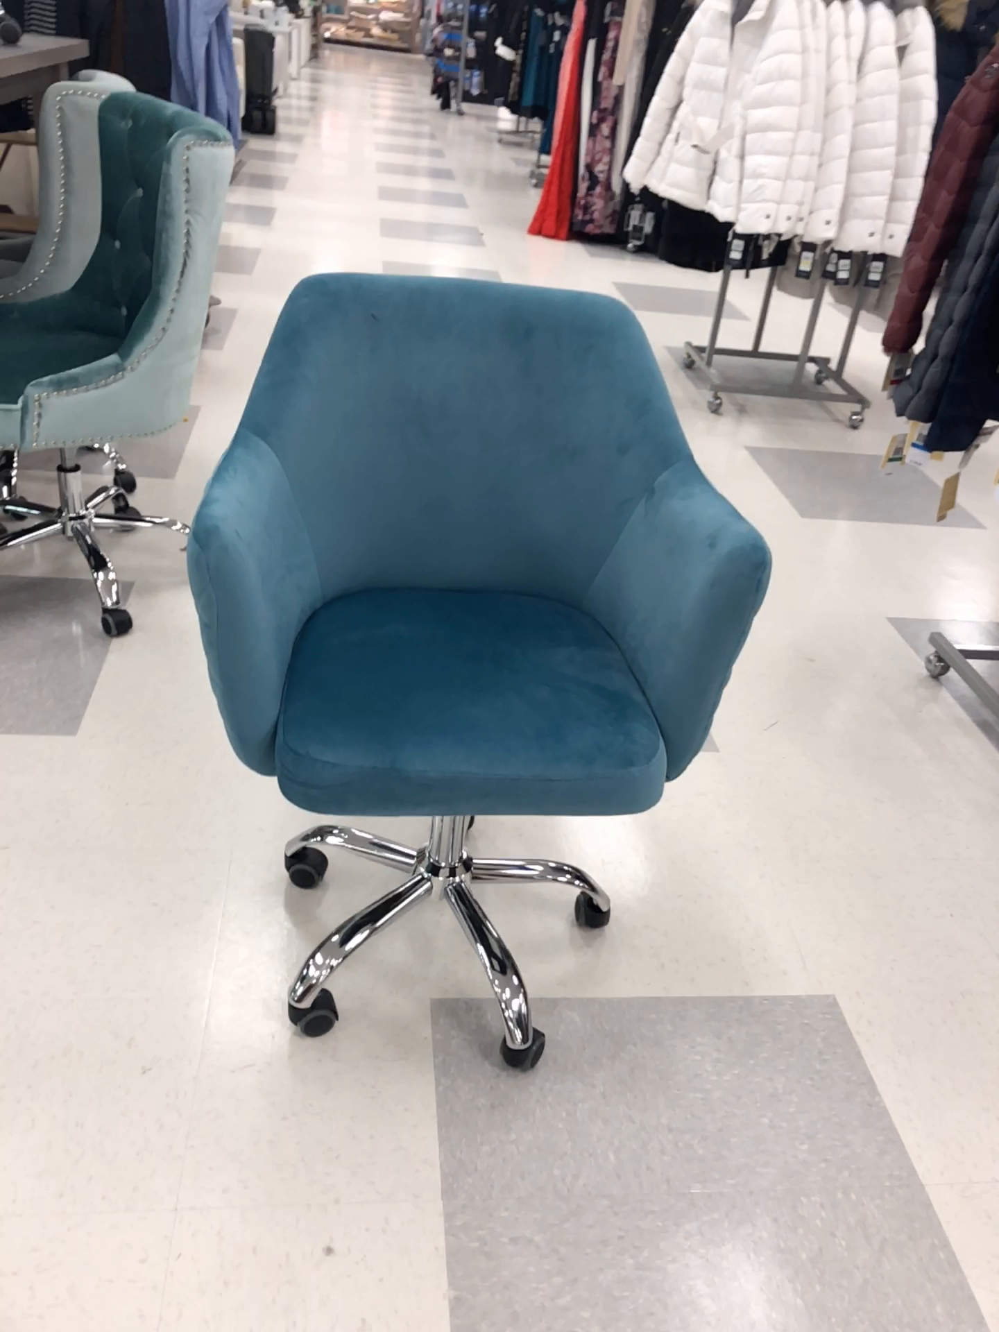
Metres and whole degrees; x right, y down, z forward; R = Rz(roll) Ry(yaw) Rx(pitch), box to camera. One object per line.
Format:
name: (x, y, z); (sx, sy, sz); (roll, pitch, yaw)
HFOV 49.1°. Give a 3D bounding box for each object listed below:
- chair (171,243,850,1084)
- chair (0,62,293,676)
chair: (-0.050, 0.005, 1.410); (0.594, 0.887, 0.565); (3, 31, -7)
chair: (-0.885, -0.639, 2.267); (0.653, 0.967, 0.737); (-13, 36, -31)
